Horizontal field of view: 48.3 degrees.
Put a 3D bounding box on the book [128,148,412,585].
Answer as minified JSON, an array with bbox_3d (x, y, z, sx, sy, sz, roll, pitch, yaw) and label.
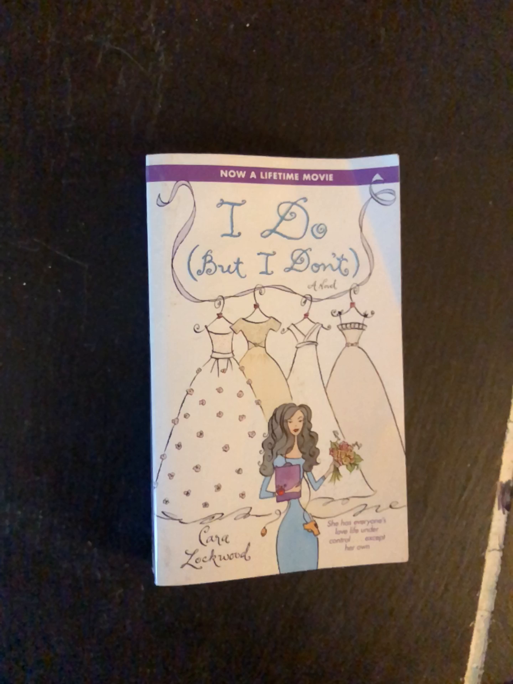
[{"bbox_3d":[0.004,0.008,0.241,0.110,0.032,0.164,-1,89,-11],"label":"book"}]
